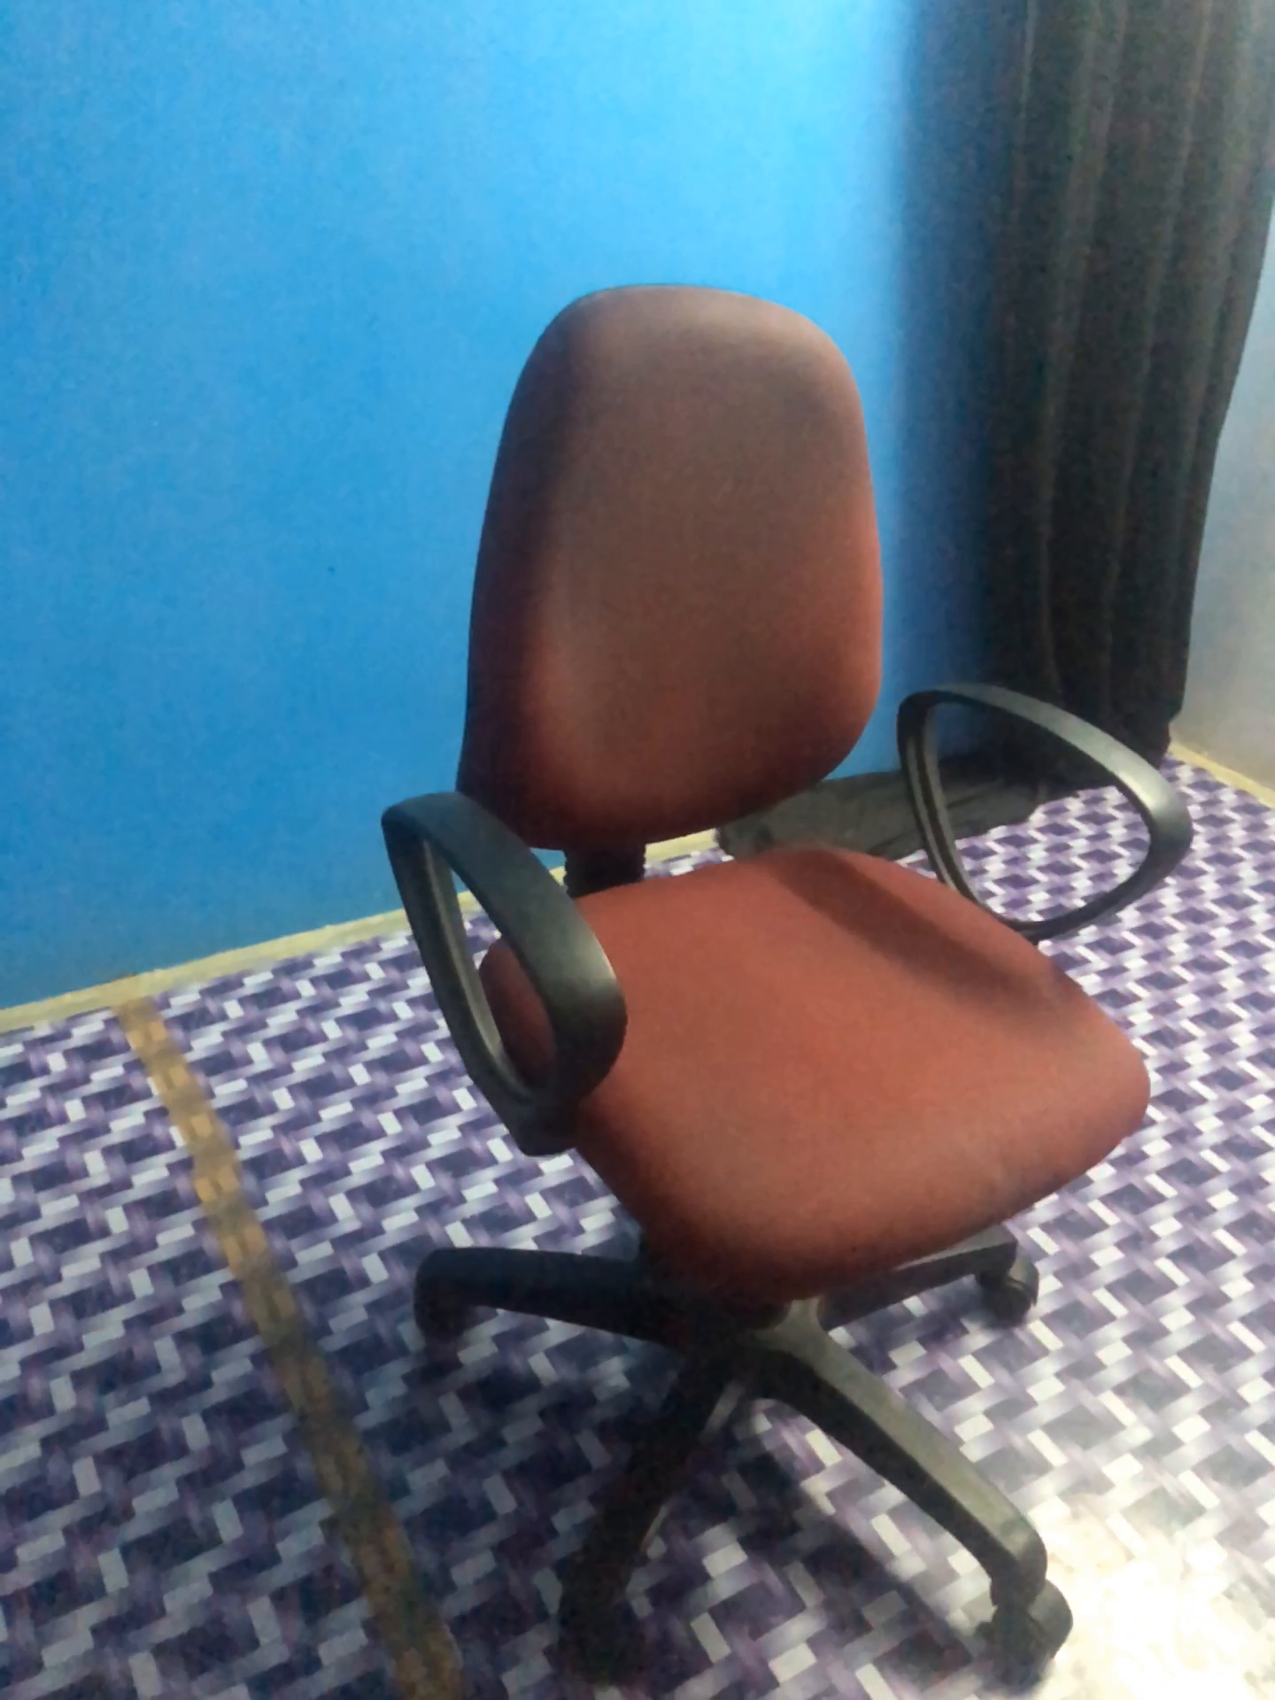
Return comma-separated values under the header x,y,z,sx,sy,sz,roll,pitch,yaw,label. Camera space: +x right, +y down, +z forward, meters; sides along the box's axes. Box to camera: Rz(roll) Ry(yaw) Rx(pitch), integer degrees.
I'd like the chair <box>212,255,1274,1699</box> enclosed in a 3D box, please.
x,y,z,sx,sy,sz,roll,pitch,yaw,label
0.137,0.075,1.100,0.702,0.895,0.742,-10,33,-25,chair
